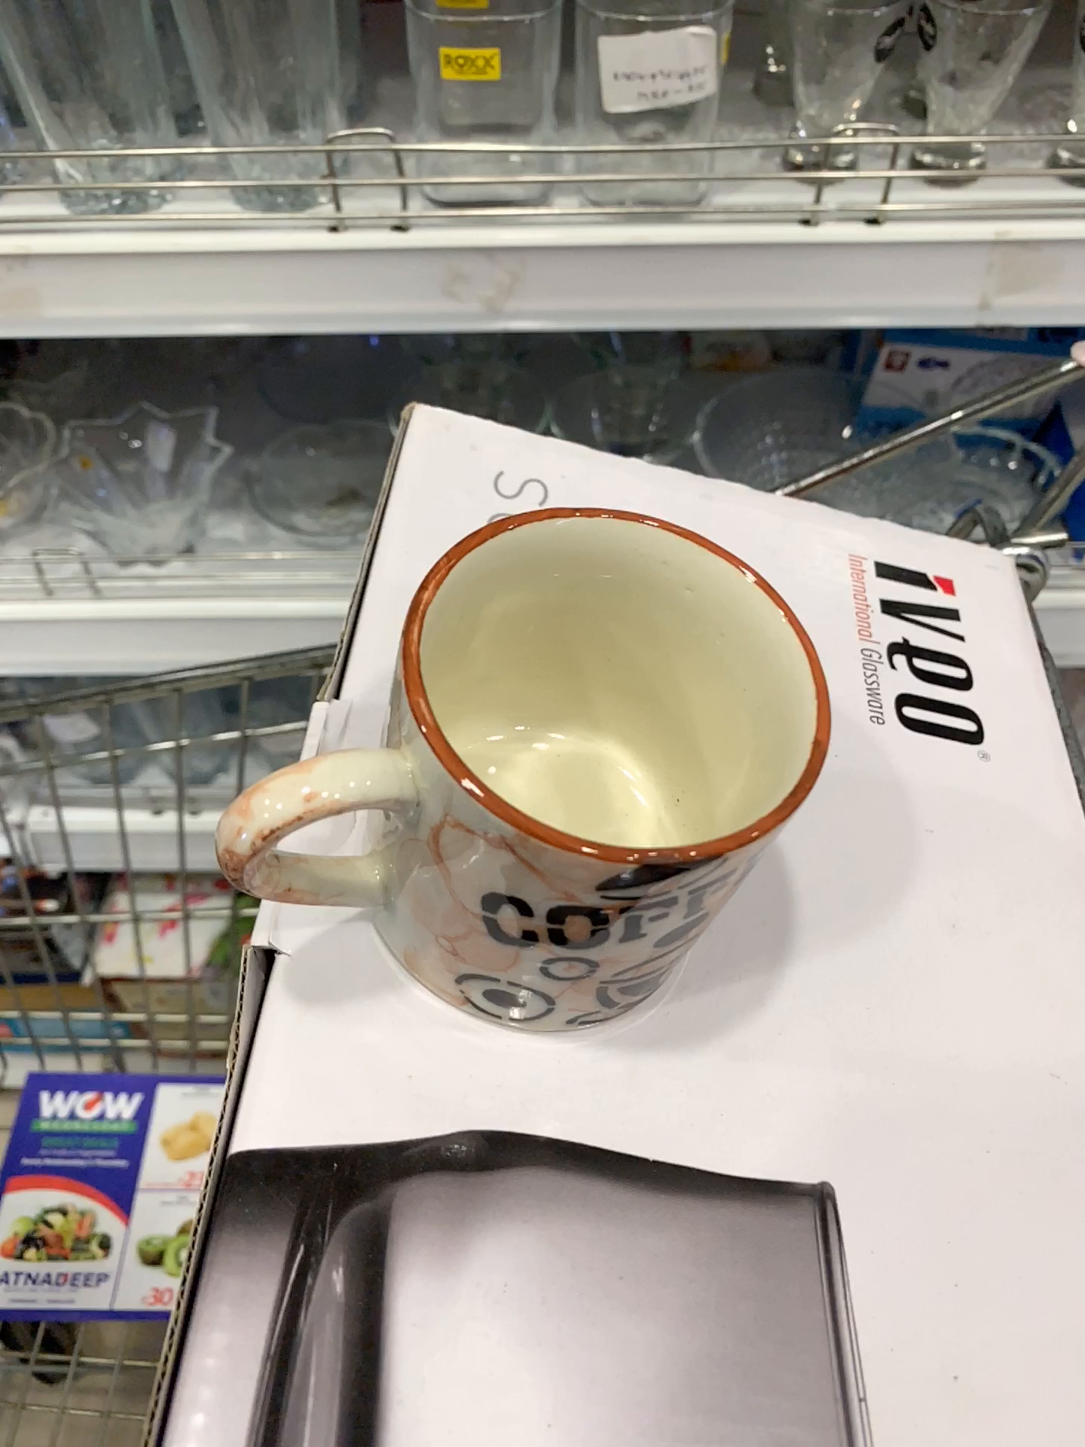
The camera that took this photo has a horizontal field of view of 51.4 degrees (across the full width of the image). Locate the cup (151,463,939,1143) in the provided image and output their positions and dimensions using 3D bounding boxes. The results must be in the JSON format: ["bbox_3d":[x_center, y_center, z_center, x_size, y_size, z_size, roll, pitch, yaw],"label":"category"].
[{"bbox_3d":[-0.006,0.009,0.192,0.100,0.070,0.070,-10,51,-23],"label":"cup"}]
